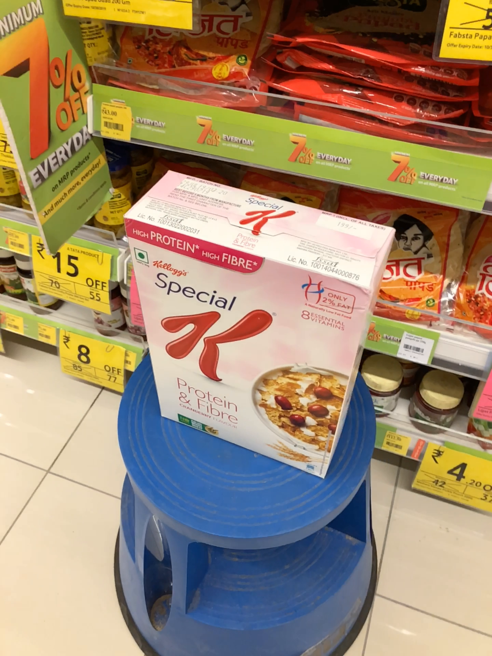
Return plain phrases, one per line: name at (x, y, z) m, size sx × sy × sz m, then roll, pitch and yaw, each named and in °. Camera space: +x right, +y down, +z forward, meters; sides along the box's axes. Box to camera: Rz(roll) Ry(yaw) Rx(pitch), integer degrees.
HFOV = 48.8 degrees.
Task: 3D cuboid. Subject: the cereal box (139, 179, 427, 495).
cereal box at (0.025, 0.021, 0.457) m, size 0.180 × 0.249 × 0.070 m, roll 18°, pitch 51°, yaw 16°
